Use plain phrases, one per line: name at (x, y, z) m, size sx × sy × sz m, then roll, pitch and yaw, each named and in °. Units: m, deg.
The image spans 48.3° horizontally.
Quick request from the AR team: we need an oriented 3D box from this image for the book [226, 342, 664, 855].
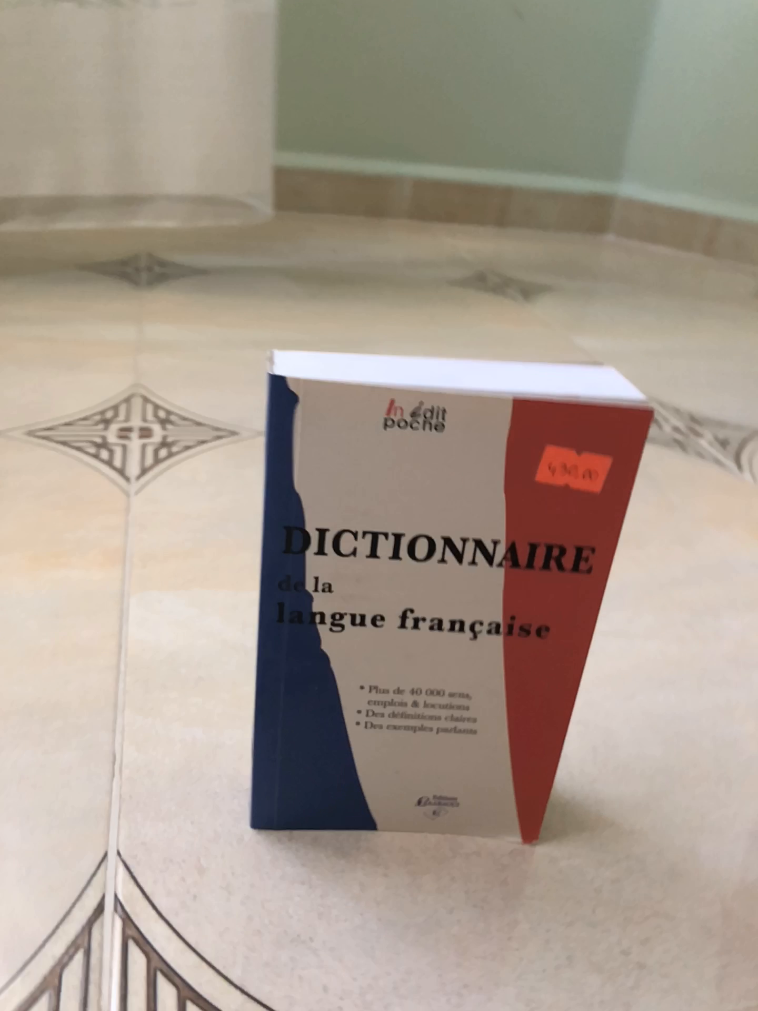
book at (0.011, 0.042, 0.294) m, size 0.121 × 0.181 × 0.034 m, roll 5°, pitch 28°, yaw -4°
